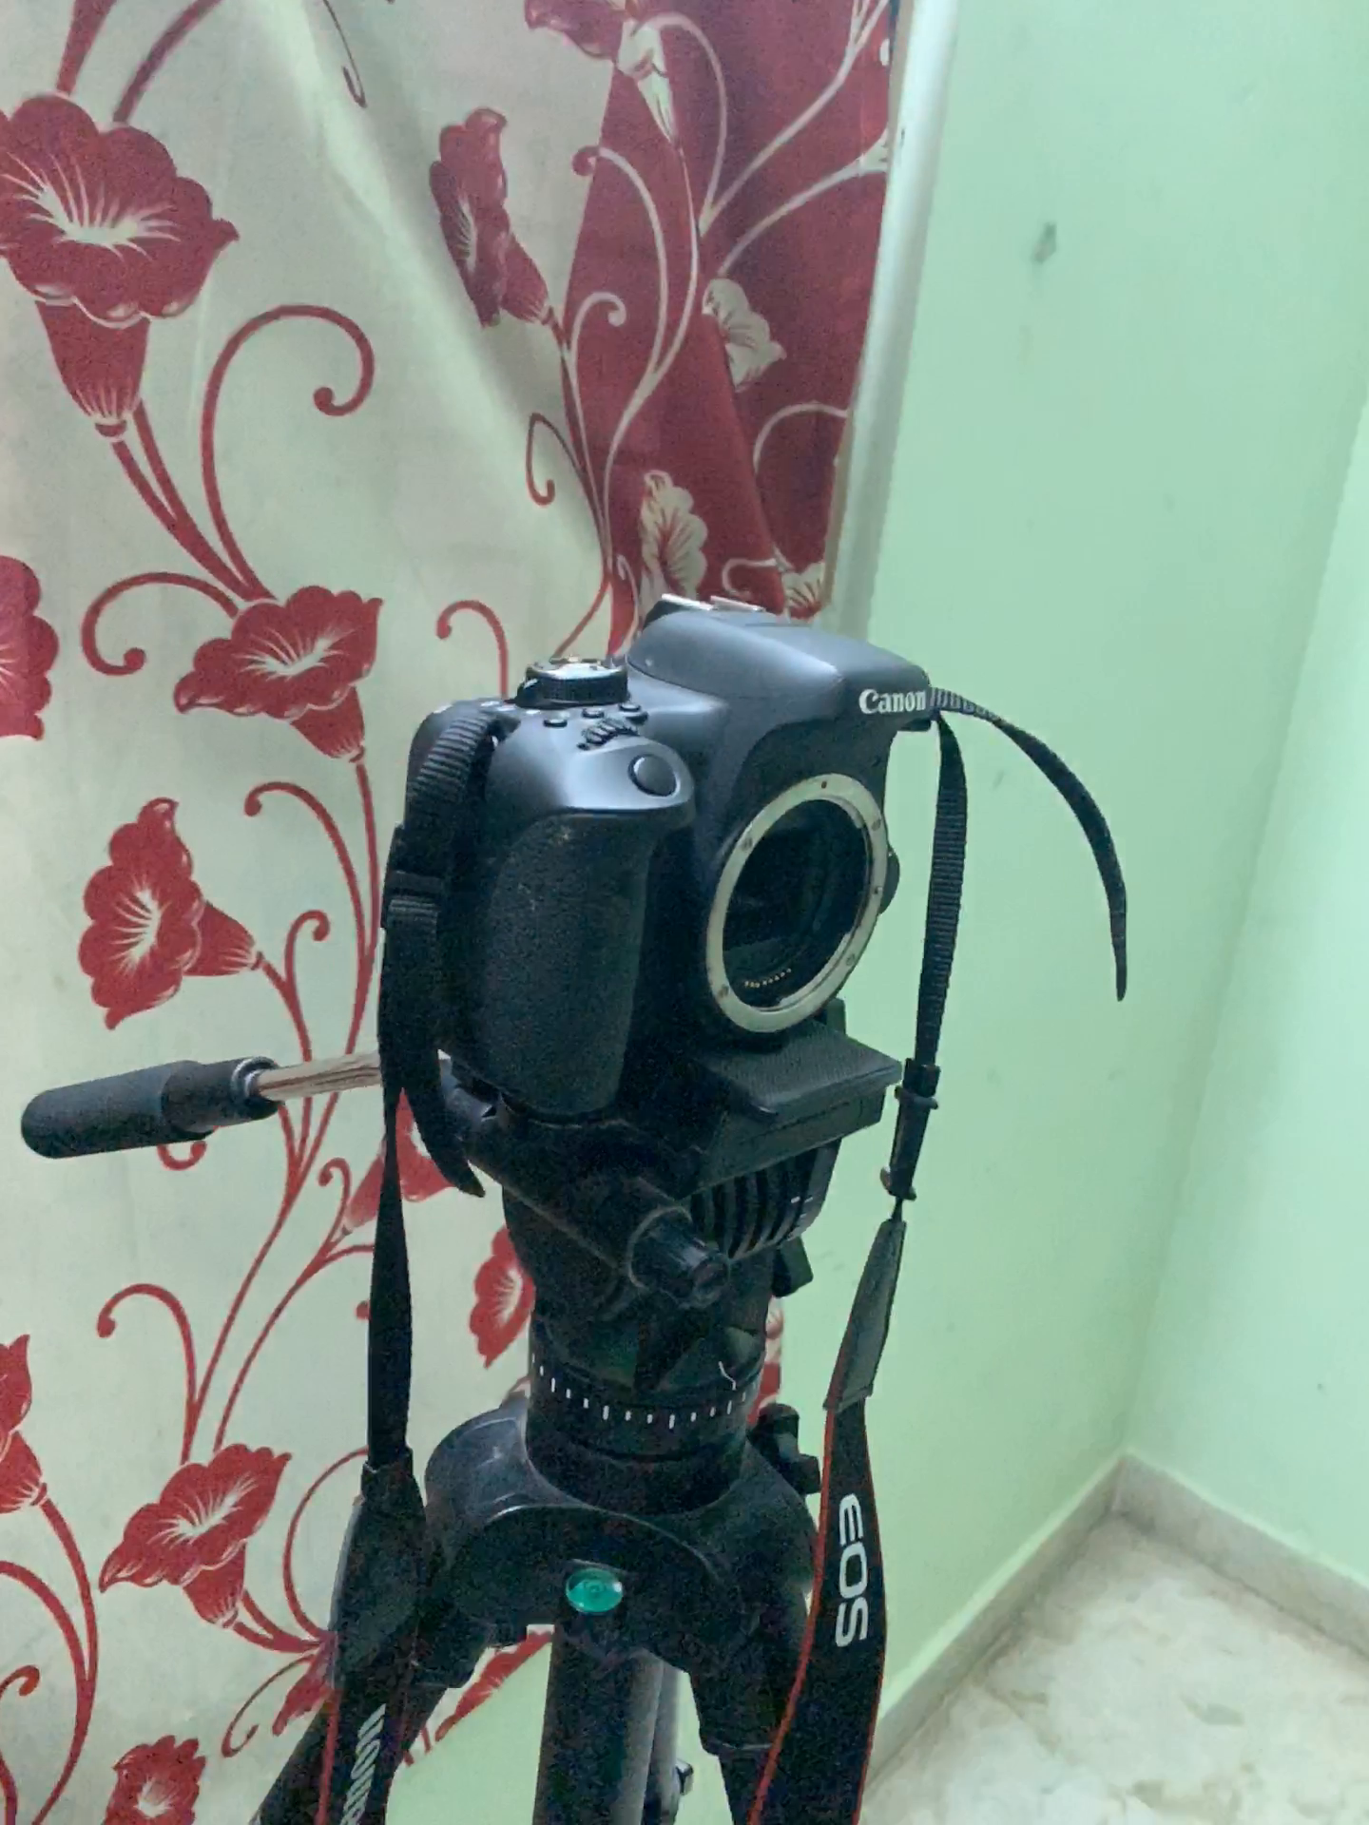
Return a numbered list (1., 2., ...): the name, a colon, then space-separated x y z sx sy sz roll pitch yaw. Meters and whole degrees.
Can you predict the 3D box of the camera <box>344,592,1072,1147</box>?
1. camera: 0.008 -0.022 0.323 0.085 0.088 0.142 21 23 39
